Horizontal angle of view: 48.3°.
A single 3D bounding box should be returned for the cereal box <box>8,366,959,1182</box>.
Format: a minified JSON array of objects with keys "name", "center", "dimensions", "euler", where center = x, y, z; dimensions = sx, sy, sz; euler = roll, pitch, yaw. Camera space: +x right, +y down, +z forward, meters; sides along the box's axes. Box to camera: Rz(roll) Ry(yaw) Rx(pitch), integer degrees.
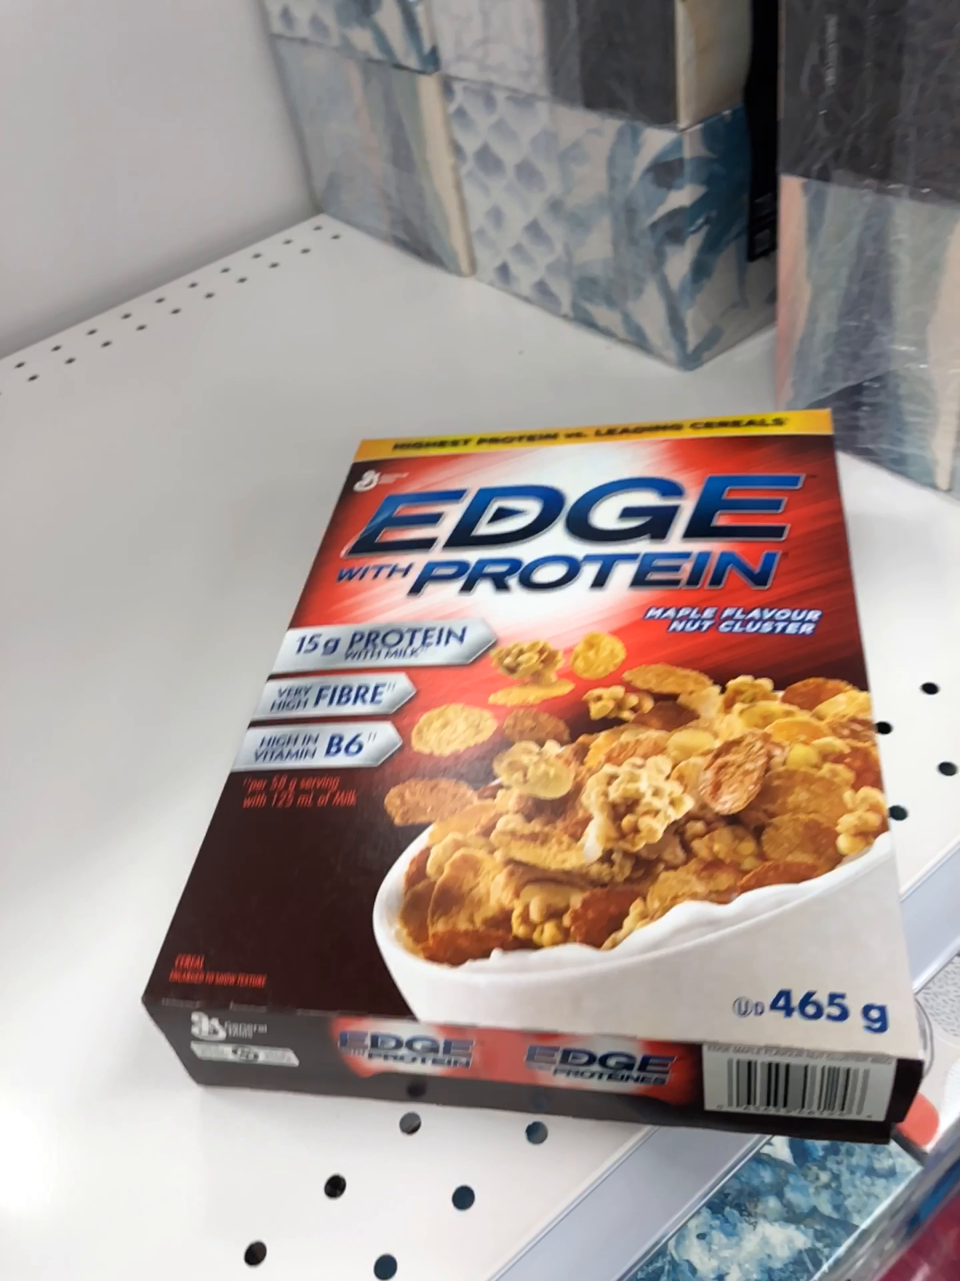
[{"name":"cereal box","center":[0.017,0.012,0.346],"dimensions":[0.220,0.050,0.271],"euler":[-1,44,13]}]
